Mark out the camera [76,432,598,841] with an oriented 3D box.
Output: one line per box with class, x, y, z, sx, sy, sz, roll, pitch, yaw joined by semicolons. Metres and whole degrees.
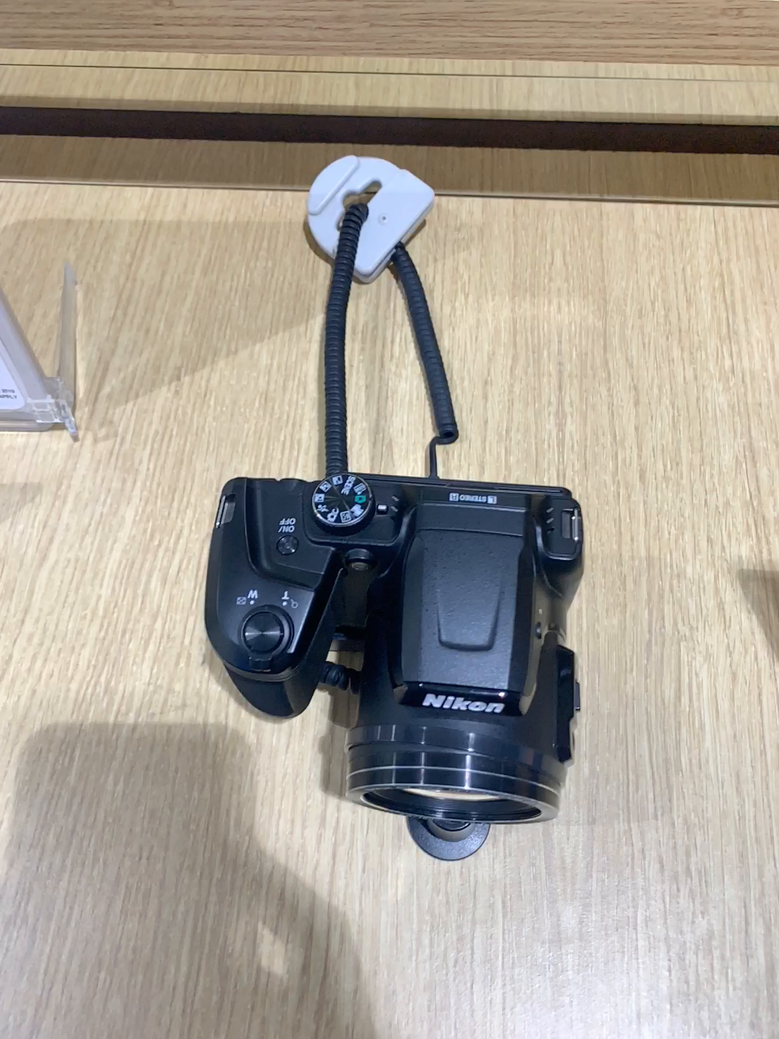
camera;-0.008;0.038;0.239;0.120;0.080;0.090;4;63;4
